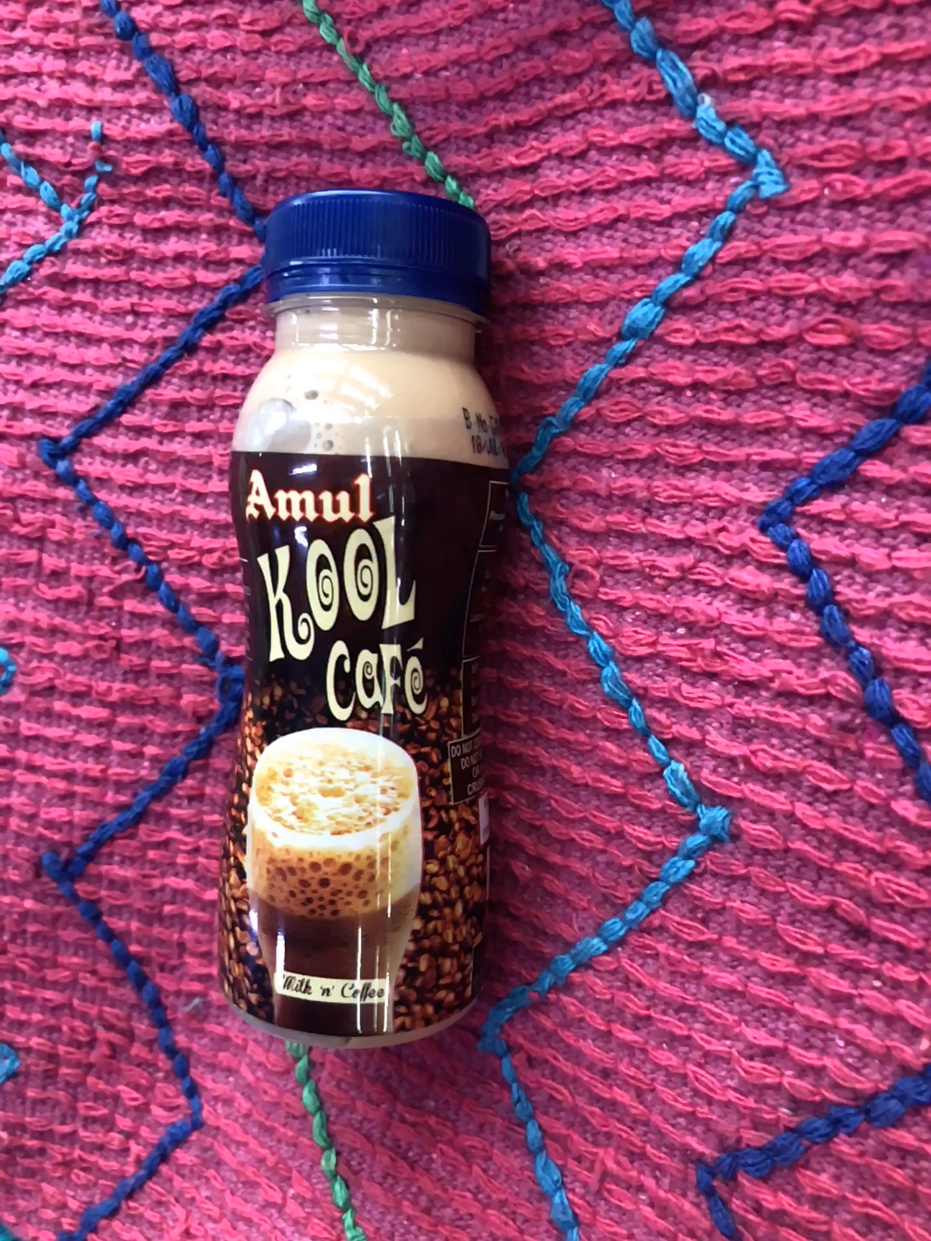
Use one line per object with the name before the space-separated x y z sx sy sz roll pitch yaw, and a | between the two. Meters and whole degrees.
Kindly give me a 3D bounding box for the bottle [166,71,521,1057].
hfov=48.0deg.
bottle | -0.020 -0.008 0.191 0.050 0.060 0.150 2 94 -1
